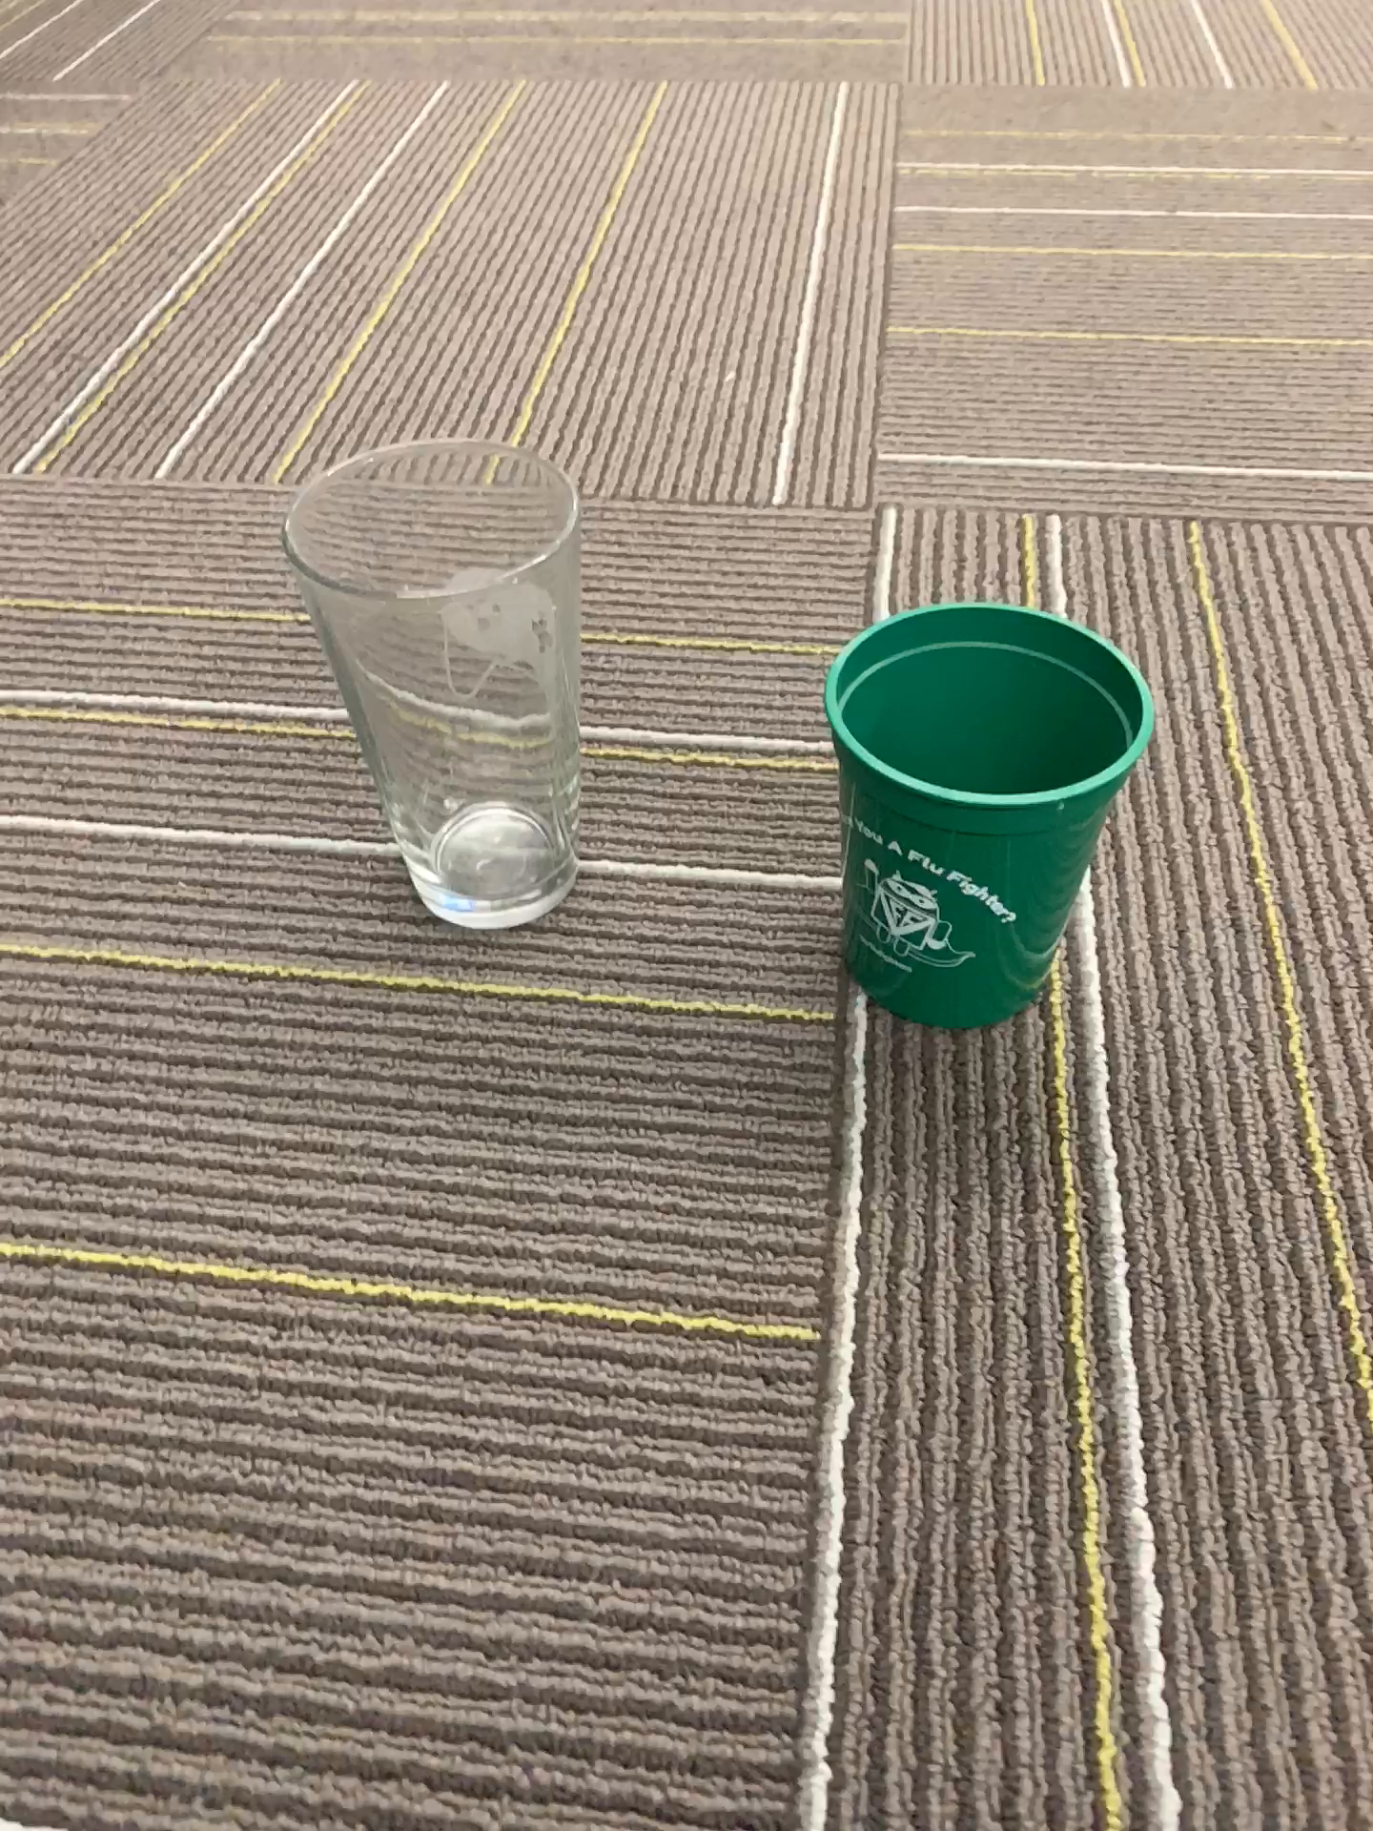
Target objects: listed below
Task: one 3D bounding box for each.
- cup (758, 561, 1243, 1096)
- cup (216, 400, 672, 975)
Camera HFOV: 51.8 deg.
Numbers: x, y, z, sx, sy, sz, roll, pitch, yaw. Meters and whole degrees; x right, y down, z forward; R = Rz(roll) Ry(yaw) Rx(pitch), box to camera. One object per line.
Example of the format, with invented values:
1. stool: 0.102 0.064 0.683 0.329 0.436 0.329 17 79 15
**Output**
1. cup: 0.093 -0.030 0.449 0.100 0.099 0.100 -1 46 2
2. cup: -0.069 -0.072 0.458 0.090 0.139 0.090 -1 46 2
